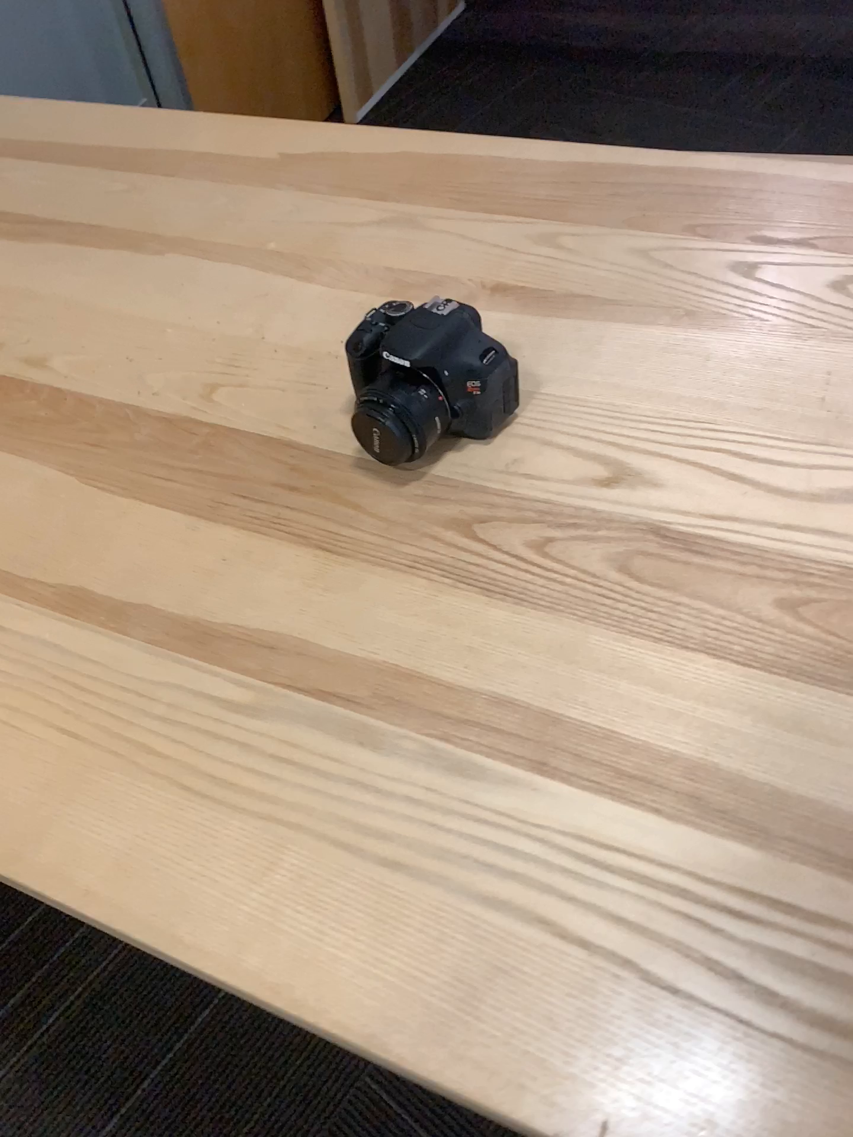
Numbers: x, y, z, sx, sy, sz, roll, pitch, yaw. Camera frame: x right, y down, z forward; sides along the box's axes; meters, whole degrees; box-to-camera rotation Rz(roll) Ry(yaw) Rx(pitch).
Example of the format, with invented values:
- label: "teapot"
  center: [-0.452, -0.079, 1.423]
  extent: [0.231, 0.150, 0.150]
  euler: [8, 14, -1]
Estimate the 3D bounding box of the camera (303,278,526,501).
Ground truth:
- label: "camera"
  center: [-0.005, -0.145, 0.696]
  extent: [0.123, 0.094, 0.116]
  euler: [25, 59, 26]
